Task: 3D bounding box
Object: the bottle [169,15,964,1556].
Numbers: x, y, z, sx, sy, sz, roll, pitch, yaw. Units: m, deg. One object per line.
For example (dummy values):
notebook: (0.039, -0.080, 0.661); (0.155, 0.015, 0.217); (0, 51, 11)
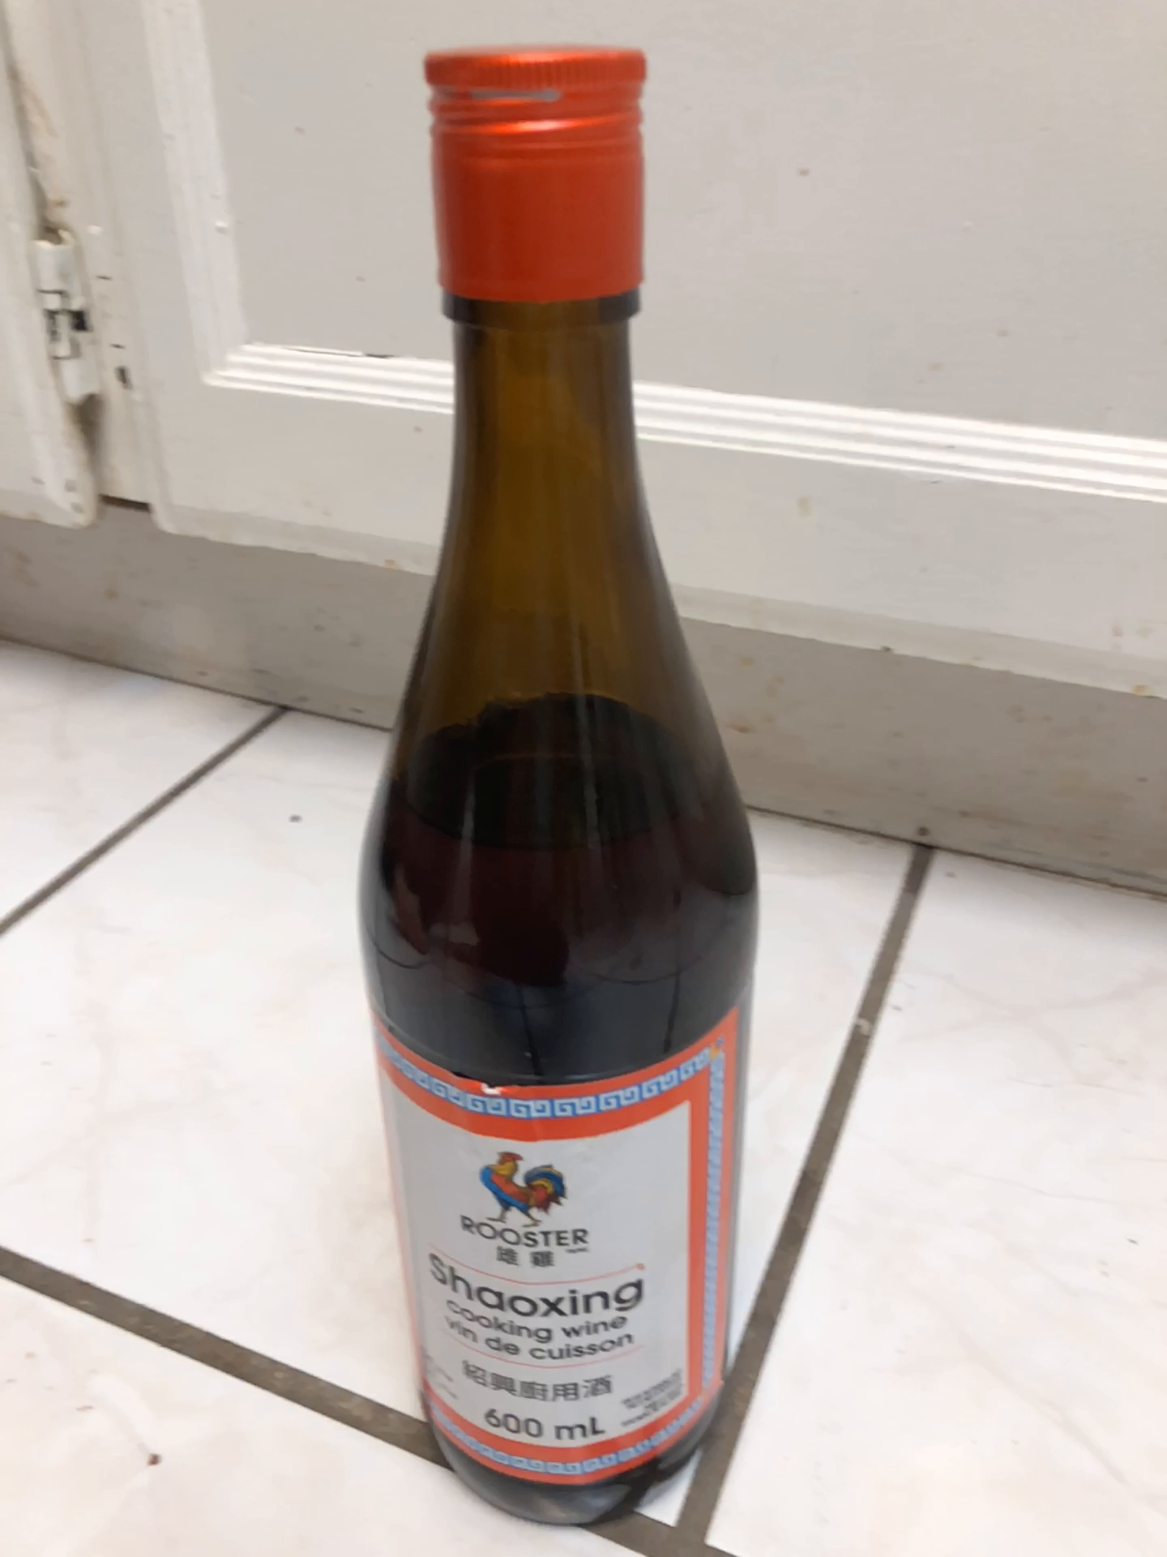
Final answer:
bottle: (0.002, 0.026, 0.231); (0.080, 0.278, 0.070); (3, 32, 5)
